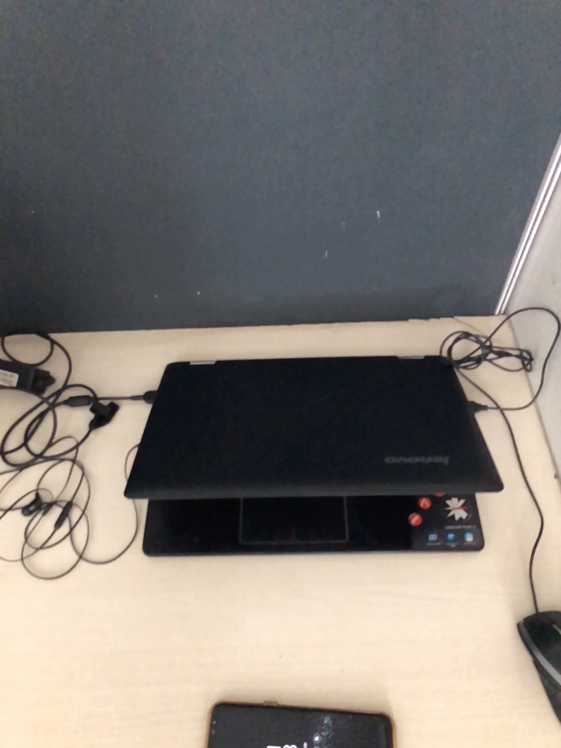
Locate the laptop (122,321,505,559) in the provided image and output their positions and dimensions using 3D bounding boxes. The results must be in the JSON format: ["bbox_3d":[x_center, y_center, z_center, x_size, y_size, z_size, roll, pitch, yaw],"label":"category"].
[{"bbox_3d":[0.028,0.061,0.627,0.326,0.083,0.220,-1,53,2],"label":"laptop"}]
